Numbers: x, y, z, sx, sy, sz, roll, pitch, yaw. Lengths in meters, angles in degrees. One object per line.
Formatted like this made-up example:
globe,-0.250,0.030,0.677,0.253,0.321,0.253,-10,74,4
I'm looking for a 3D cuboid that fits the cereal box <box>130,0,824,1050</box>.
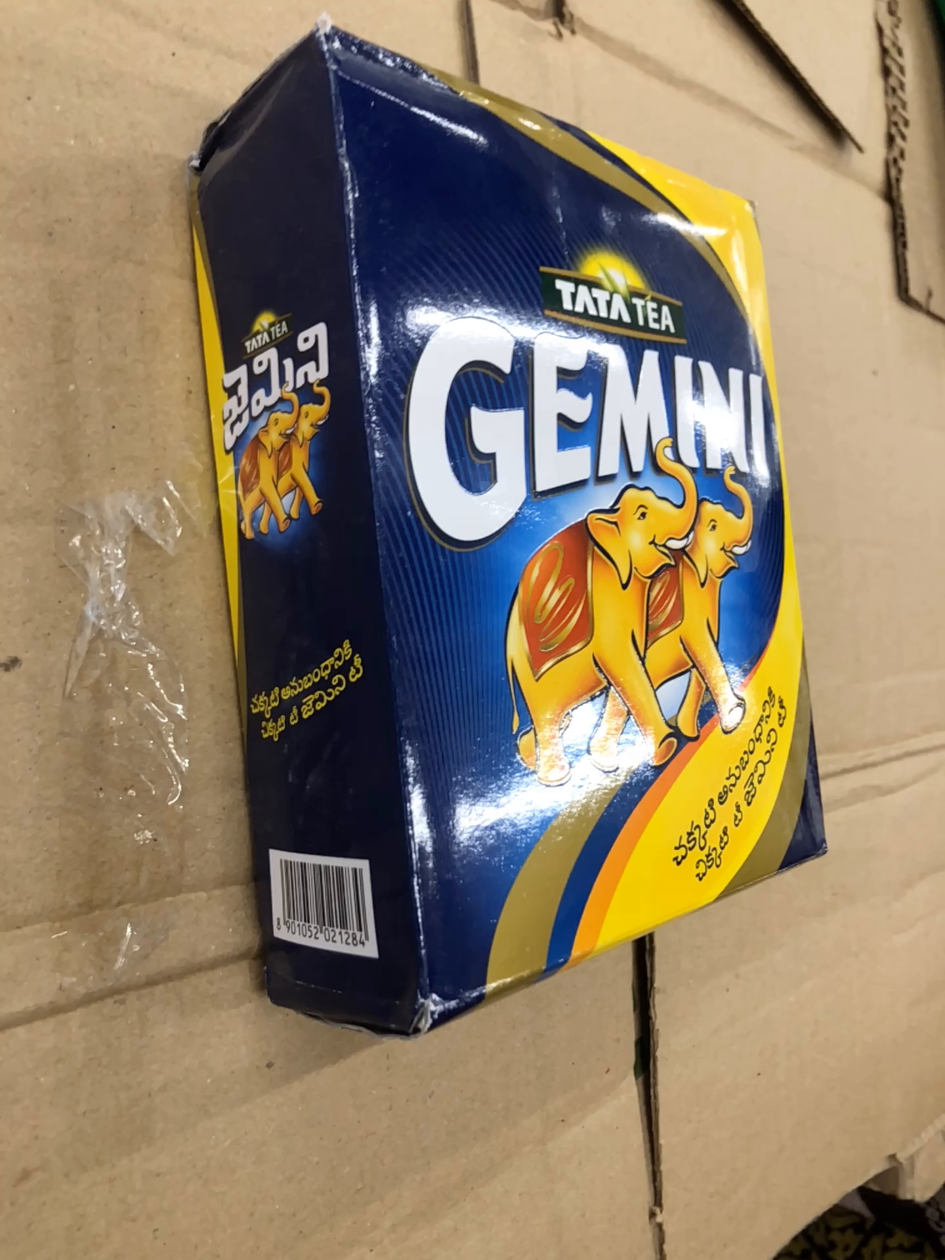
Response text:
cereal box,0.011,-0.024,0.227,0.141,0.050,0.170,-5,91,-44
